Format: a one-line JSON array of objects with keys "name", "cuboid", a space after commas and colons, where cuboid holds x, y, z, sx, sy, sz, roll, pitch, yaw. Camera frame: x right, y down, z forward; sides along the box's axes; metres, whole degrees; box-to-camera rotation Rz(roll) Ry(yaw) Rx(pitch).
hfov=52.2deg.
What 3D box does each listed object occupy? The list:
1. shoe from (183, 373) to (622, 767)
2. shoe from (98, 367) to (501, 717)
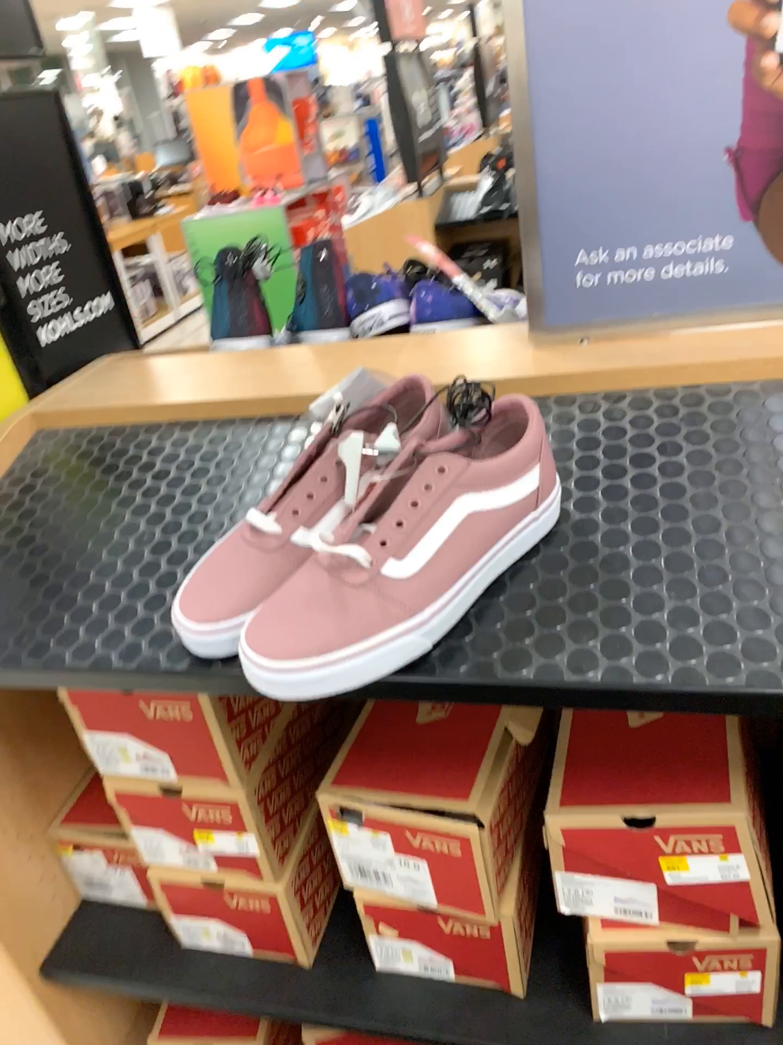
[{"name": "shoe", "cuboid": [0.018, 0.015, 0.515, 0.260, 0.099, 0.100, -35, 36, -23]}, {"name": "shoe", "cuboid": [-0.055, 0.000, 0.575, 0.260, 0.099, 0.100, -37, 37, -25]}]
